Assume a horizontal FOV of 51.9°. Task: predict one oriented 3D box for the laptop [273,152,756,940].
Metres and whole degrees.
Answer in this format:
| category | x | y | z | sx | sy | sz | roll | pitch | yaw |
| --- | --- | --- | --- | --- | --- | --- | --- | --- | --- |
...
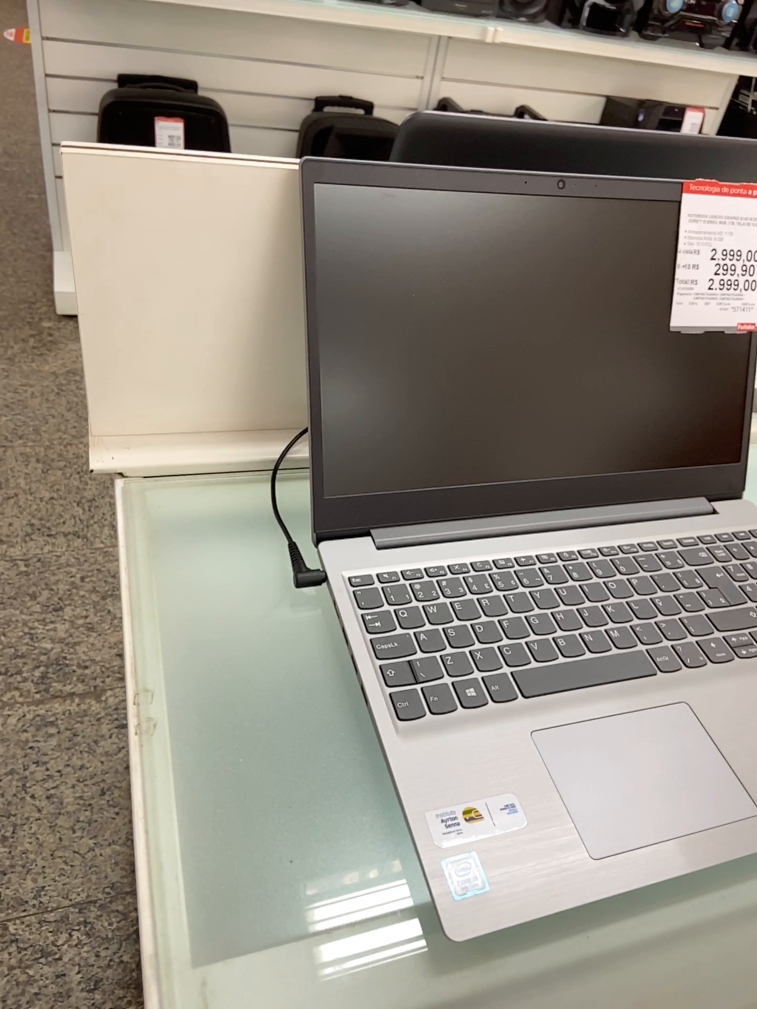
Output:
| category | x | y | z | sx | sy | sz | roll | pitch | yaw |
| --- | --- | --- | --- | --- | --- | --- | --- | --- | --- |
| laptop | 0.157 | -0.025 | 0.454 | 0.354 | 0.195 | 0.370 | -5 | 43 | -19 |
